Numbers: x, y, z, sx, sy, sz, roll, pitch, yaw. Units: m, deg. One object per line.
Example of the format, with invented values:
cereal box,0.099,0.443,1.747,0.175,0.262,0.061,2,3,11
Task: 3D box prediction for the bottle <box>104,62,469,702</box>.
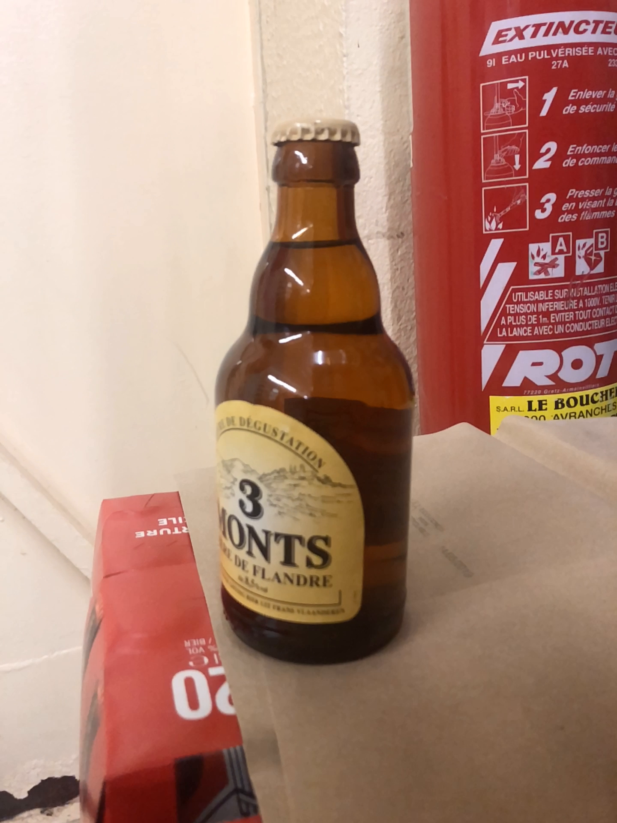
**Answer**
bottle,-0.003,-0.012,0.228,0.080,0.166,0.080,-1,13,0
